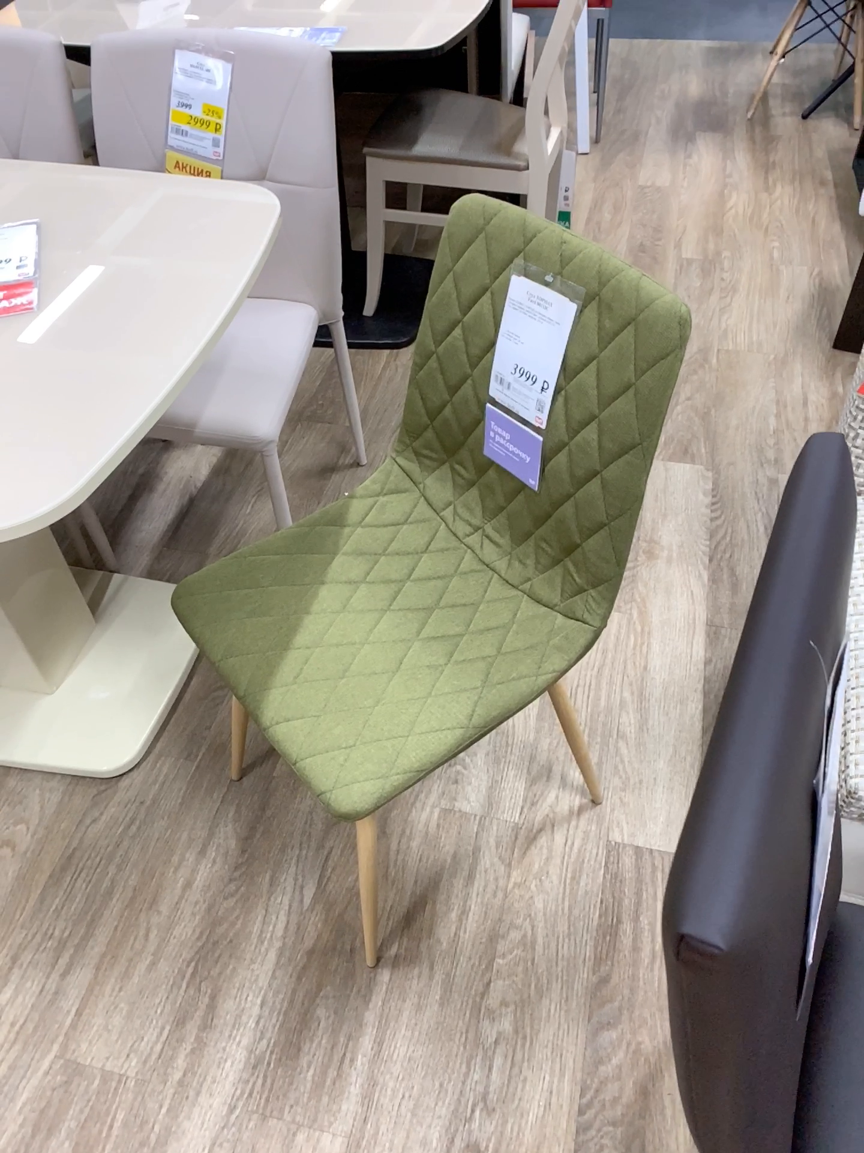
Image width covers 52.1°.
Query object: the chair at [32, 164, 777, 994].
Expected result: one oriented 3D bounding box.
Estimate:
[{"bbox_3d":[-0.021,0.028,1.191,0.561,0.836,0.501,-31,53,-23],"label":"chair"}]
